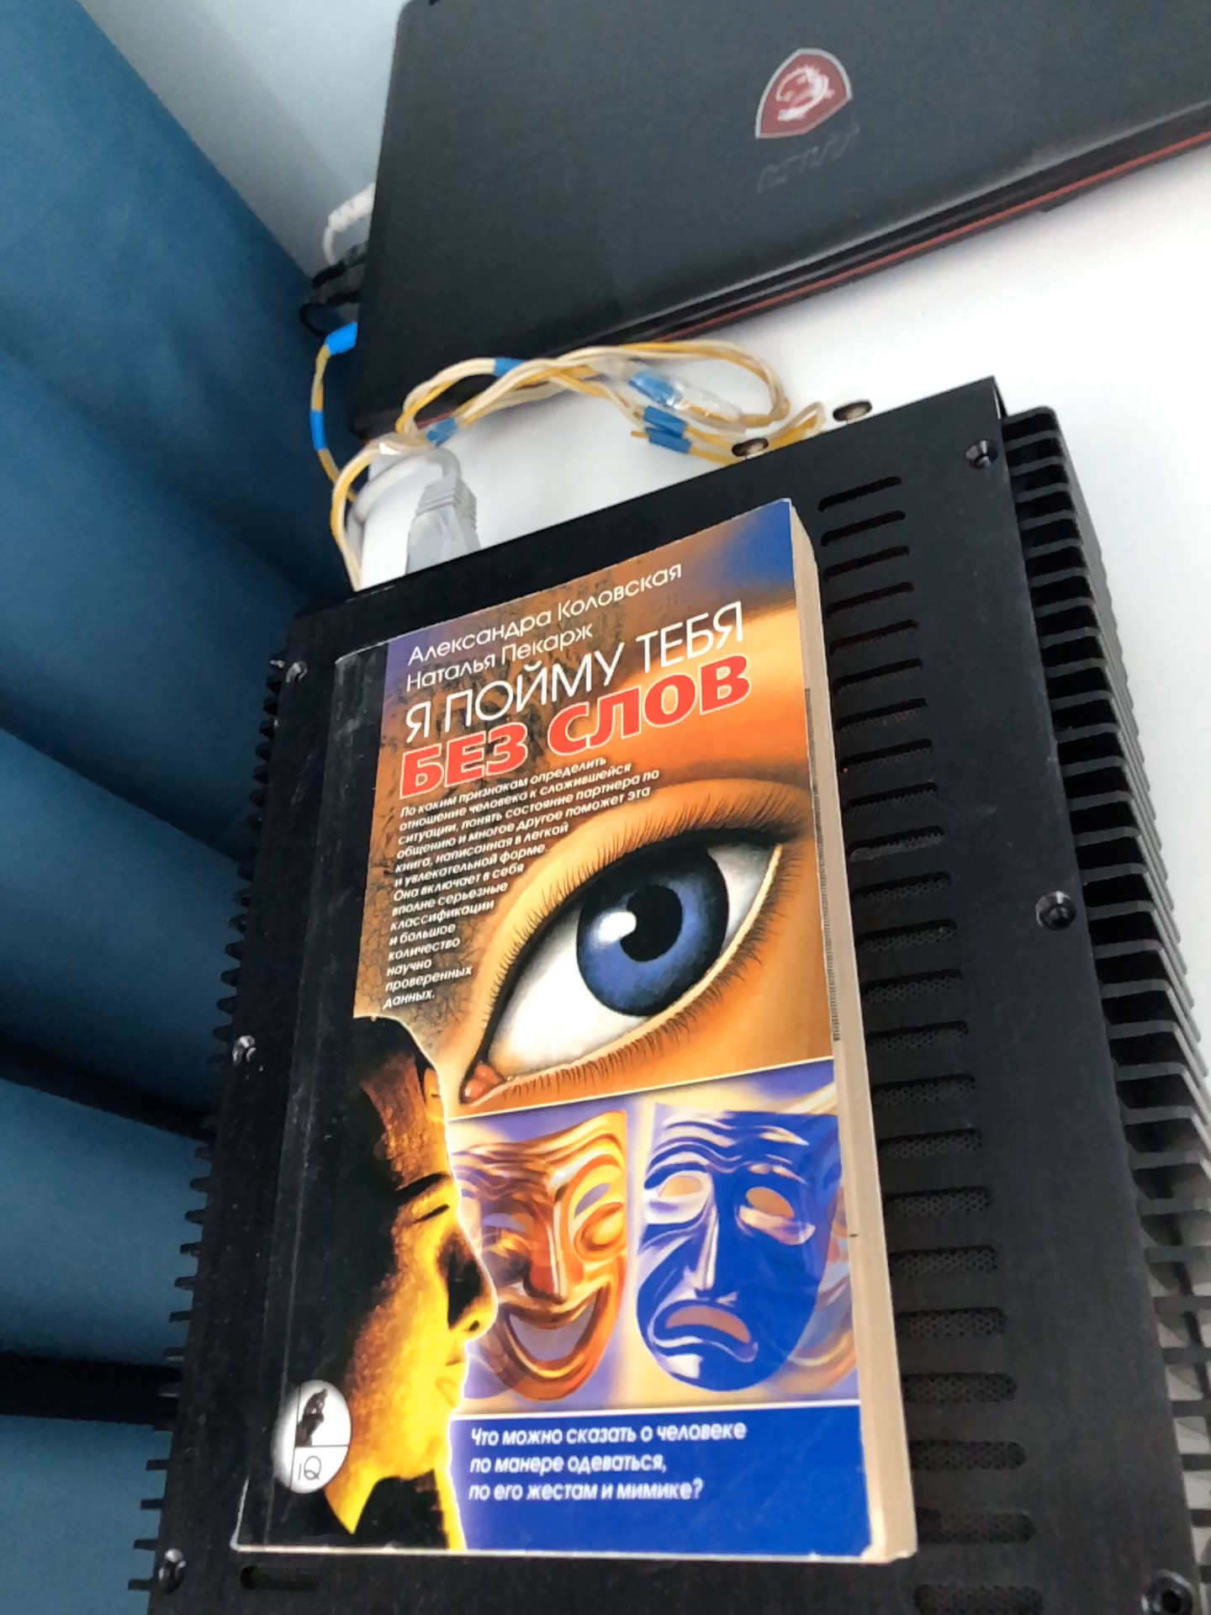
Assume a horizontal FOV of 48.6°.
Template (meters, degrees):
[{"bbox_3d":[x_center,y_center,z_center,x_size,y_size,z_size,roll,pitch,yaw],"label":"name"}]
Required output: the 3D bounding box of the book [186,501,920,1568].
[{"bbox_3d":[-0.013,0.039,0.257,0.123,0.023,0.184,-14,59,25],"label":"book"}]
